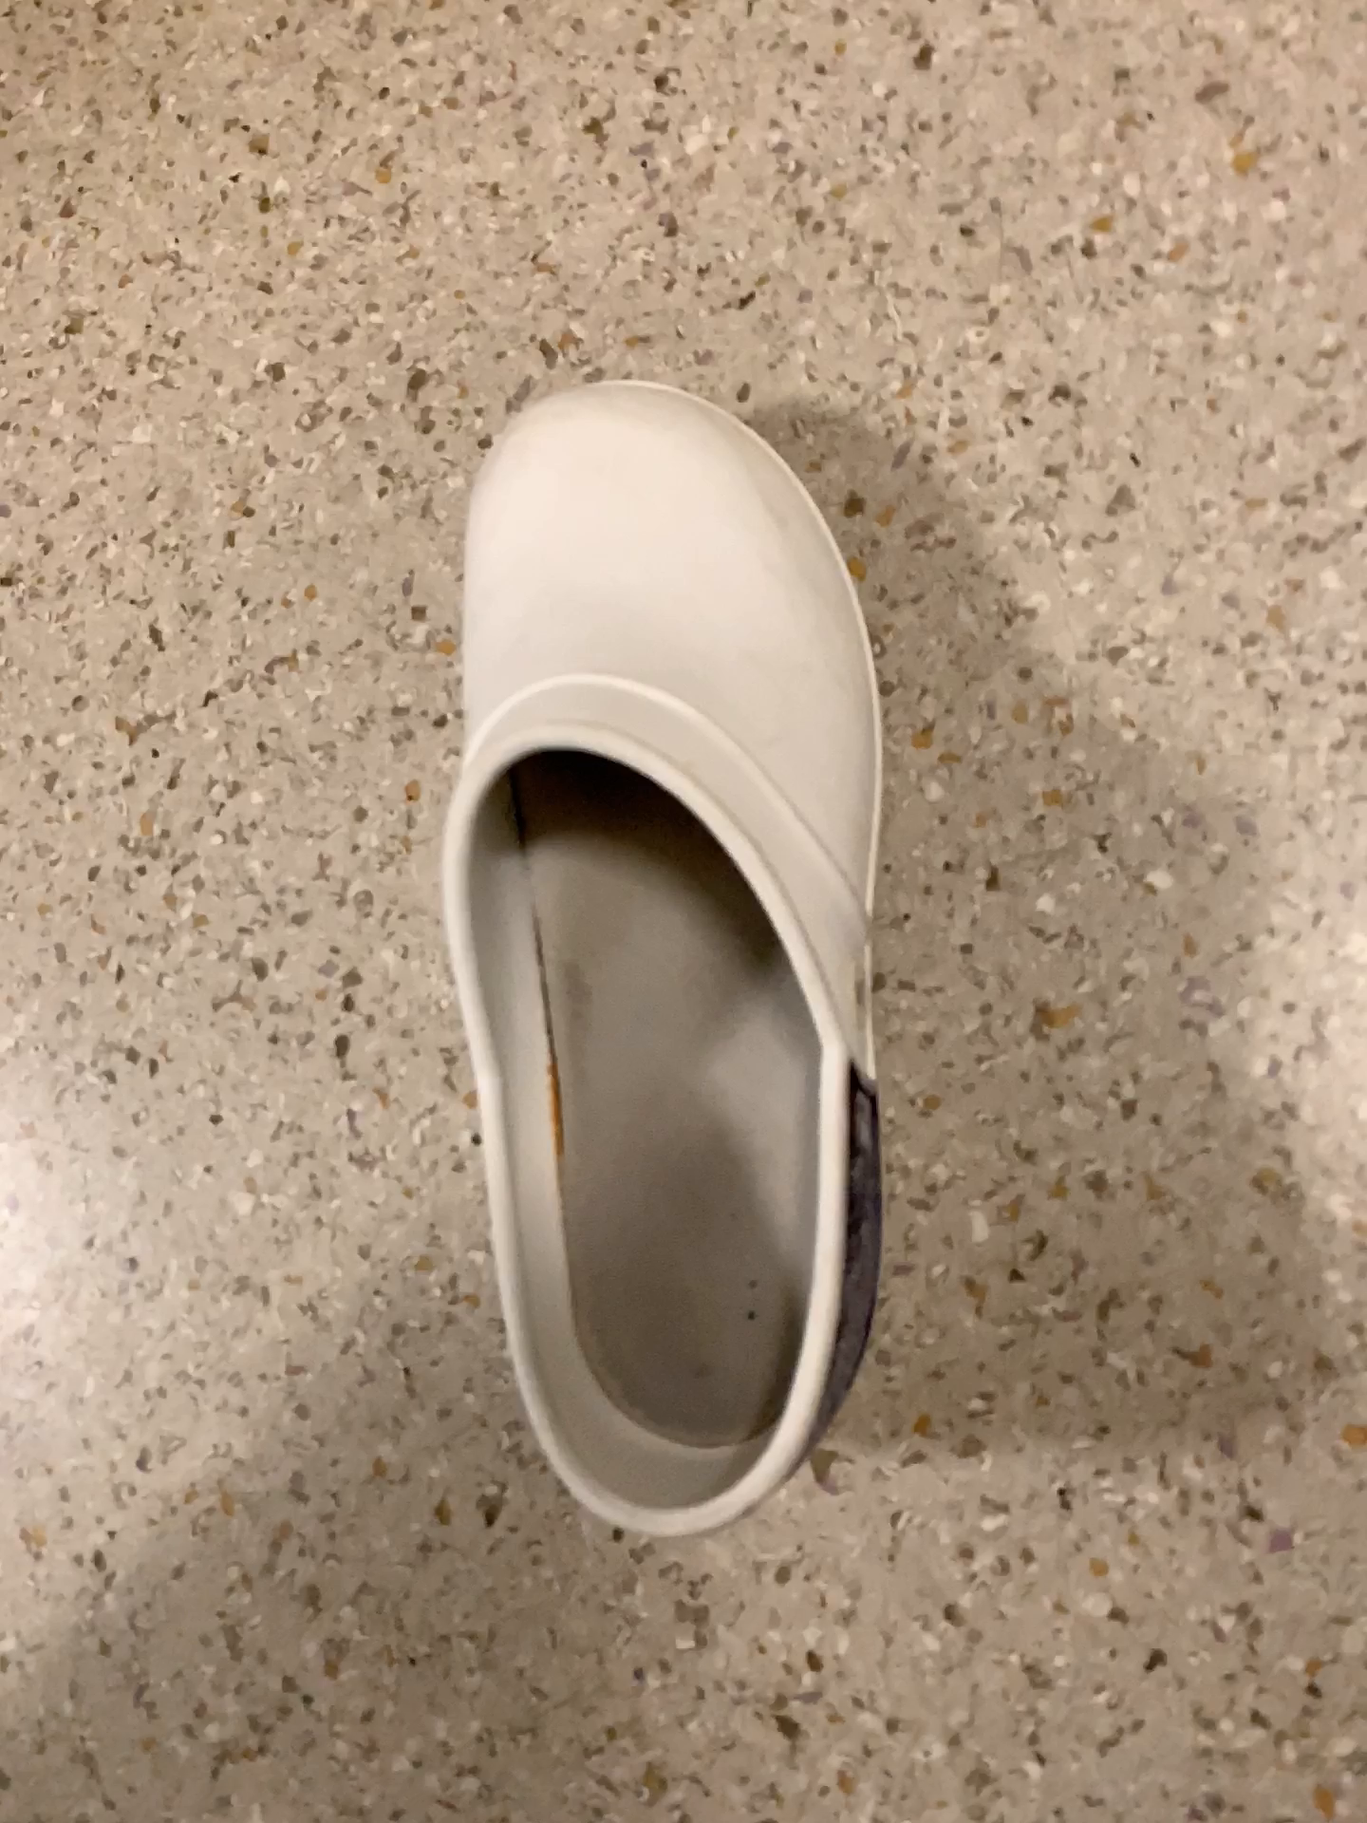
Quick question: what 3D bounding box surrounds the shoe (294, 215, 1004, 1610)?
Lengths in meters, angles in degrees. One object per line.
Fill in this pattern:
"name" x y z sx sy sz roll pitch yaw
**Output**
"shoe" -0.006 0.002 0.311 0.107 0.101 0.255 -10 77 15
